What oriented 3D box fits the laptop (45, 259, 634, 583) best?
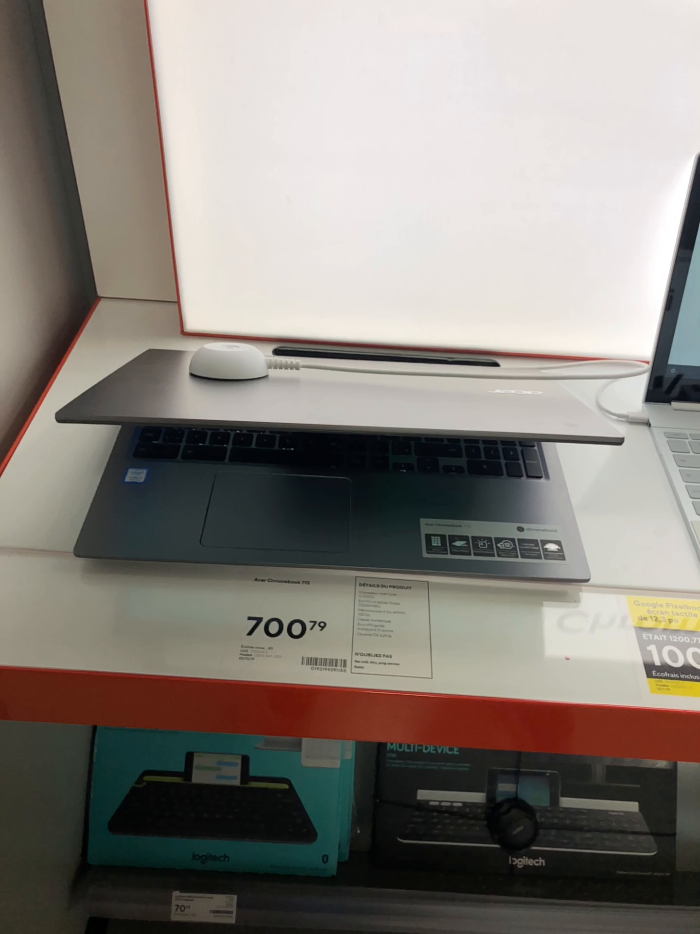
[{"bbox_3d":[-0.005,-0.046,0.590,0.356,0.105,0.237,3,41,-1],"label":"laptop"}]
